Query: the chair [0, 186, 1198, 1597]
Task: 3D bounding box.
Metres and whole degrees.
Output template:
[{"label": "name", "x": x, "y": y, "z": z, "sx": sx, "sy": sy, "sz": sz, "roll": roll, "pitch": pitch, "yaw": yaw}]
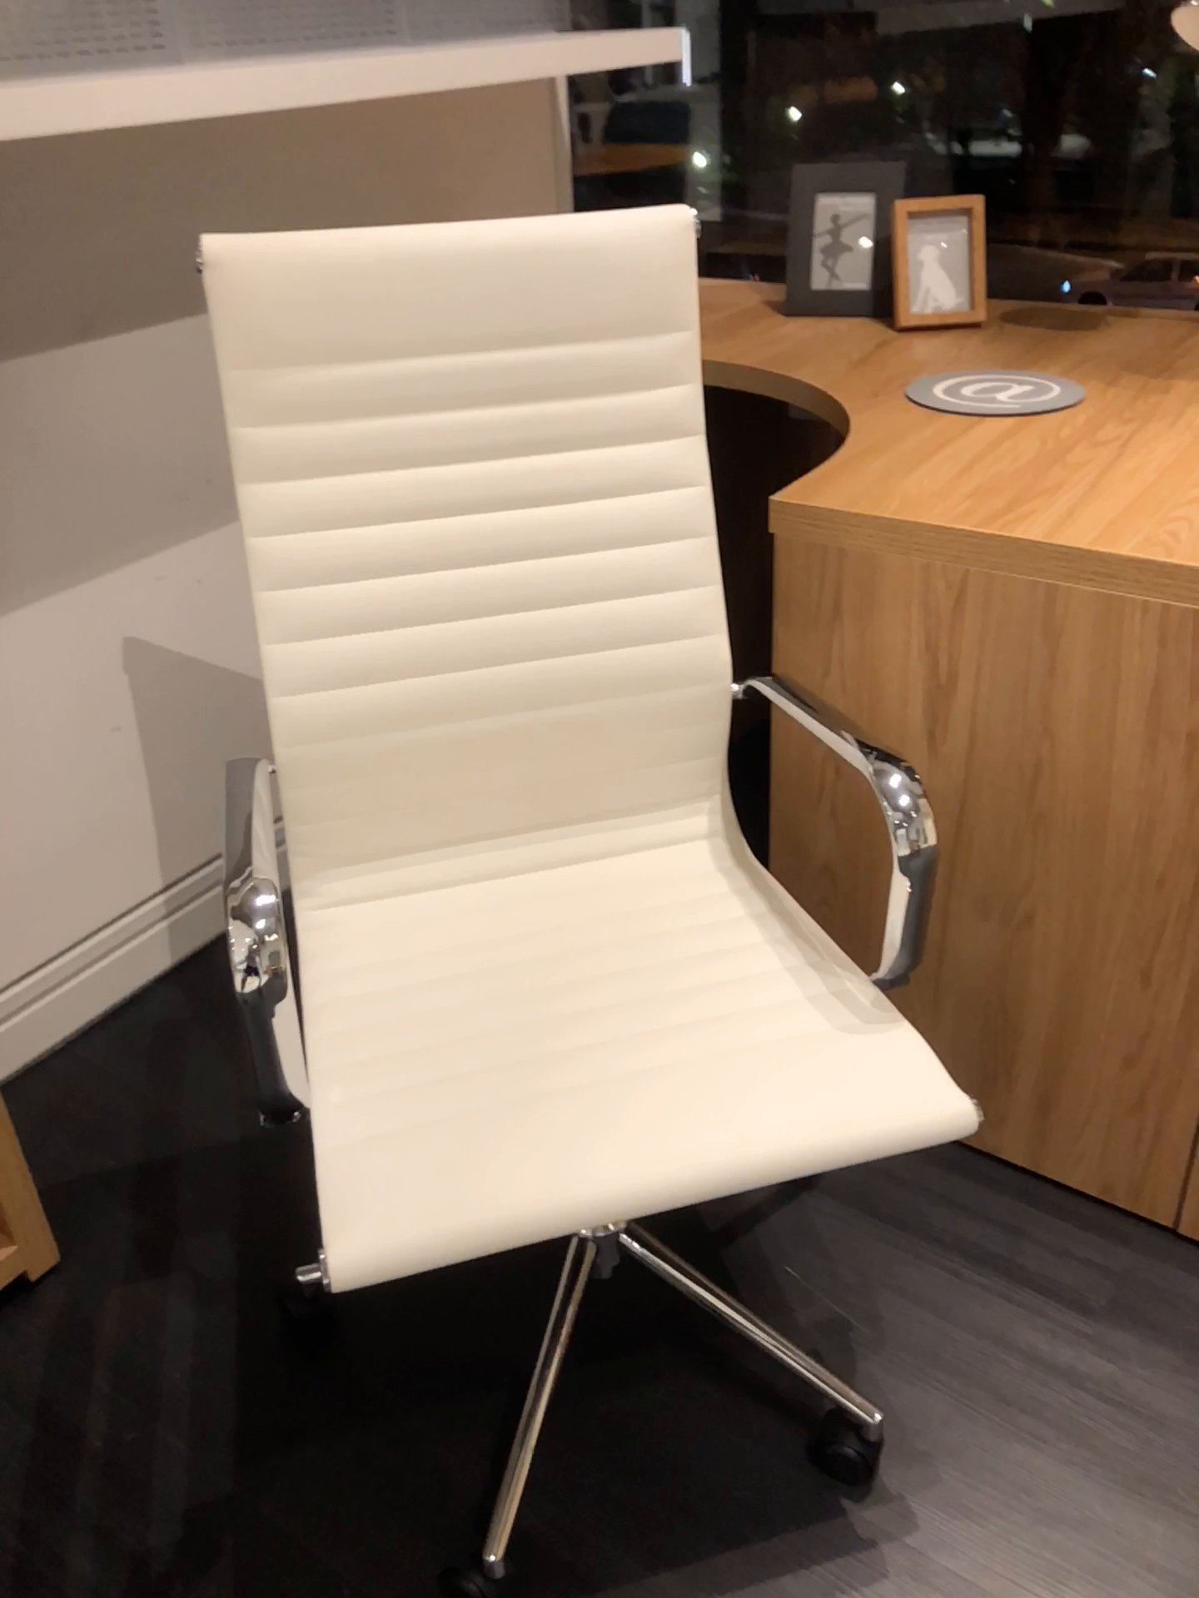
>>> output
[{"label": "chair", "x": -0.033, "y": 0.069, "z": 1.162, "sx": 0.630, "sy": 1.013, "sz": 0.634, "roll": -10, "pitch": 31, "yaw": -11}]
